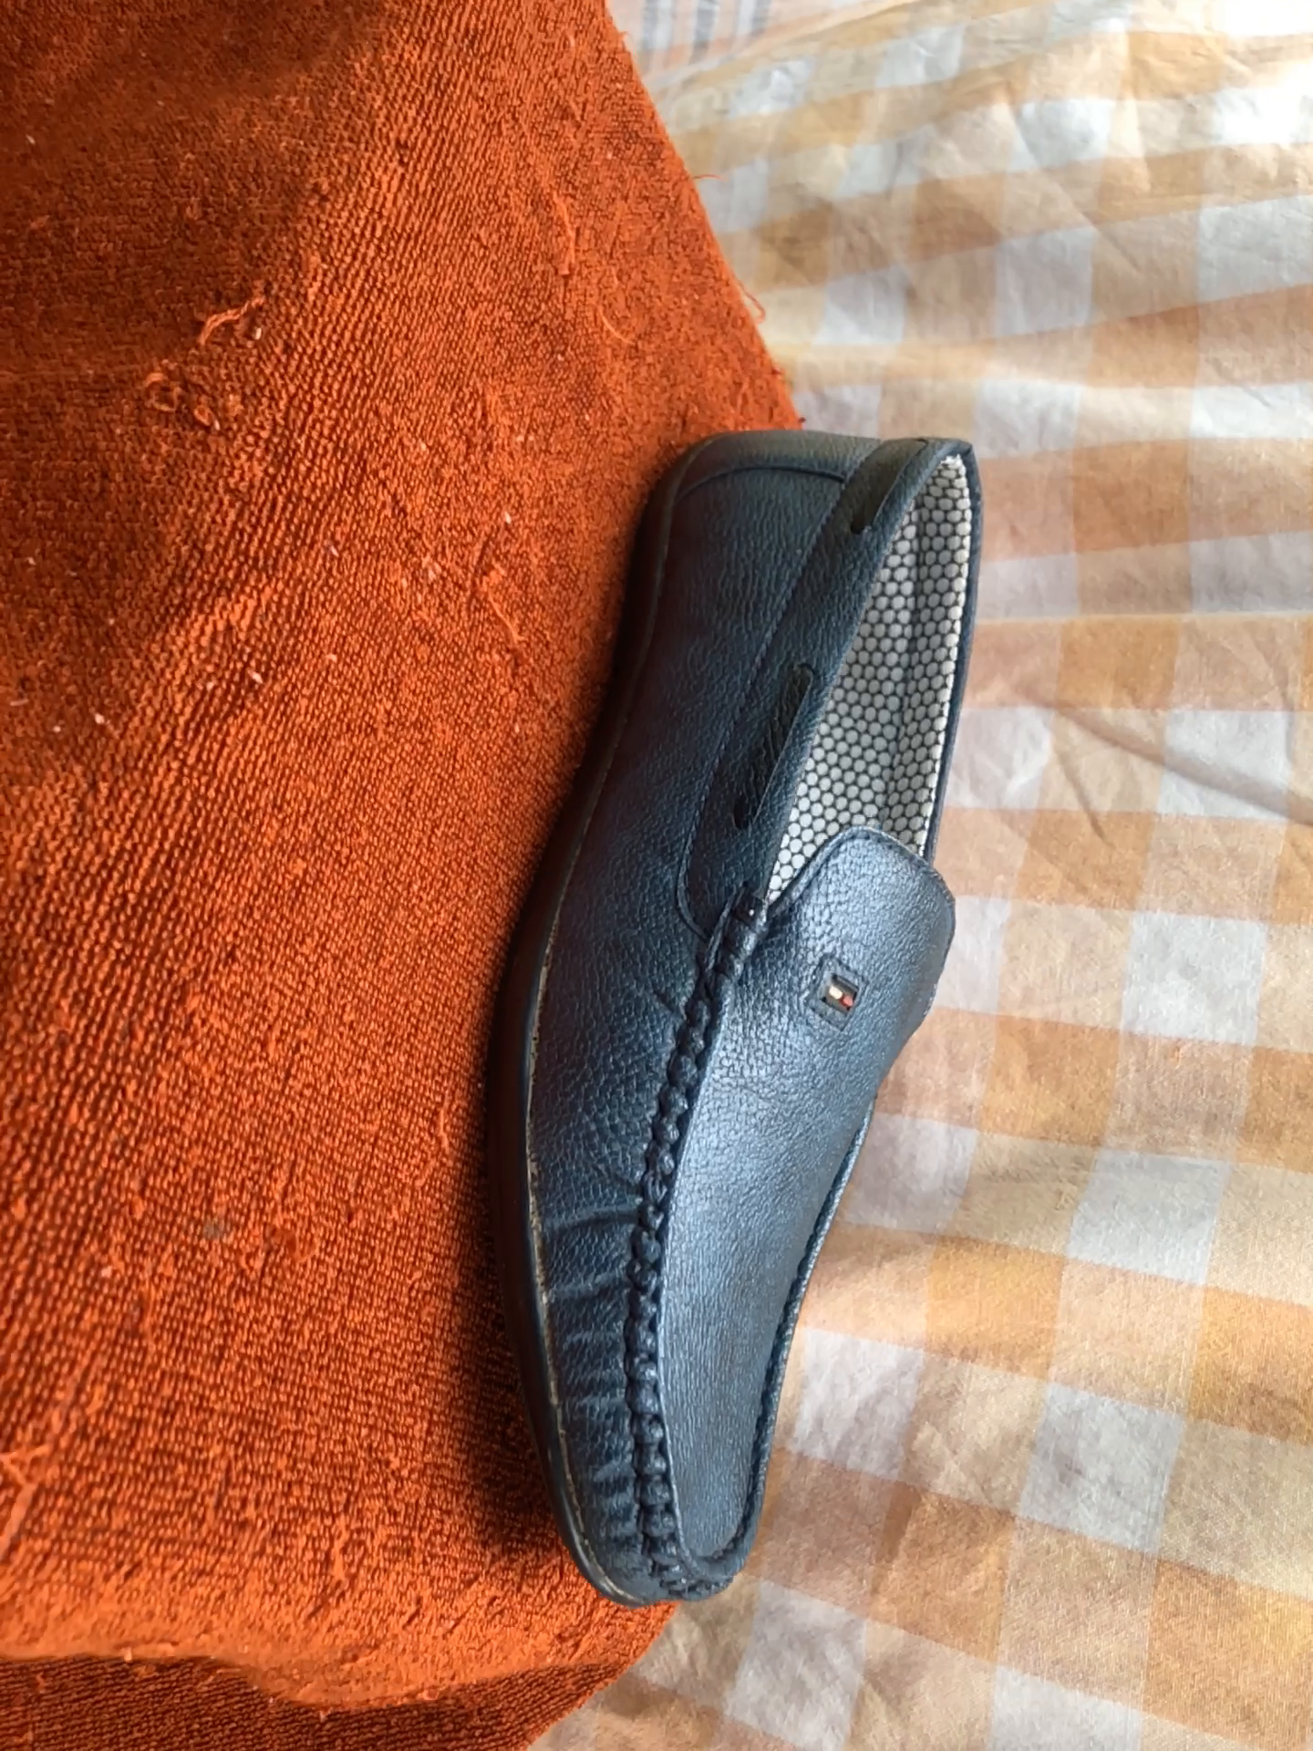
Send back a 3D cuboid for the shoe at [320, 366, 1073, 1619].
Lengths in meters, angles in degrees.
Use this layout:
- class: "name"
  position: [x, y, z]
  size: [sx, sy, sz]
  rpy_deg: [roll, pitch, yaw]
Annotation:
- class: "shoe"
  position: [0.028, 0.019, 0.345]
  size: [0.101, 0.089, 0.260]
  rpy_deg: [51, 48, -52]
